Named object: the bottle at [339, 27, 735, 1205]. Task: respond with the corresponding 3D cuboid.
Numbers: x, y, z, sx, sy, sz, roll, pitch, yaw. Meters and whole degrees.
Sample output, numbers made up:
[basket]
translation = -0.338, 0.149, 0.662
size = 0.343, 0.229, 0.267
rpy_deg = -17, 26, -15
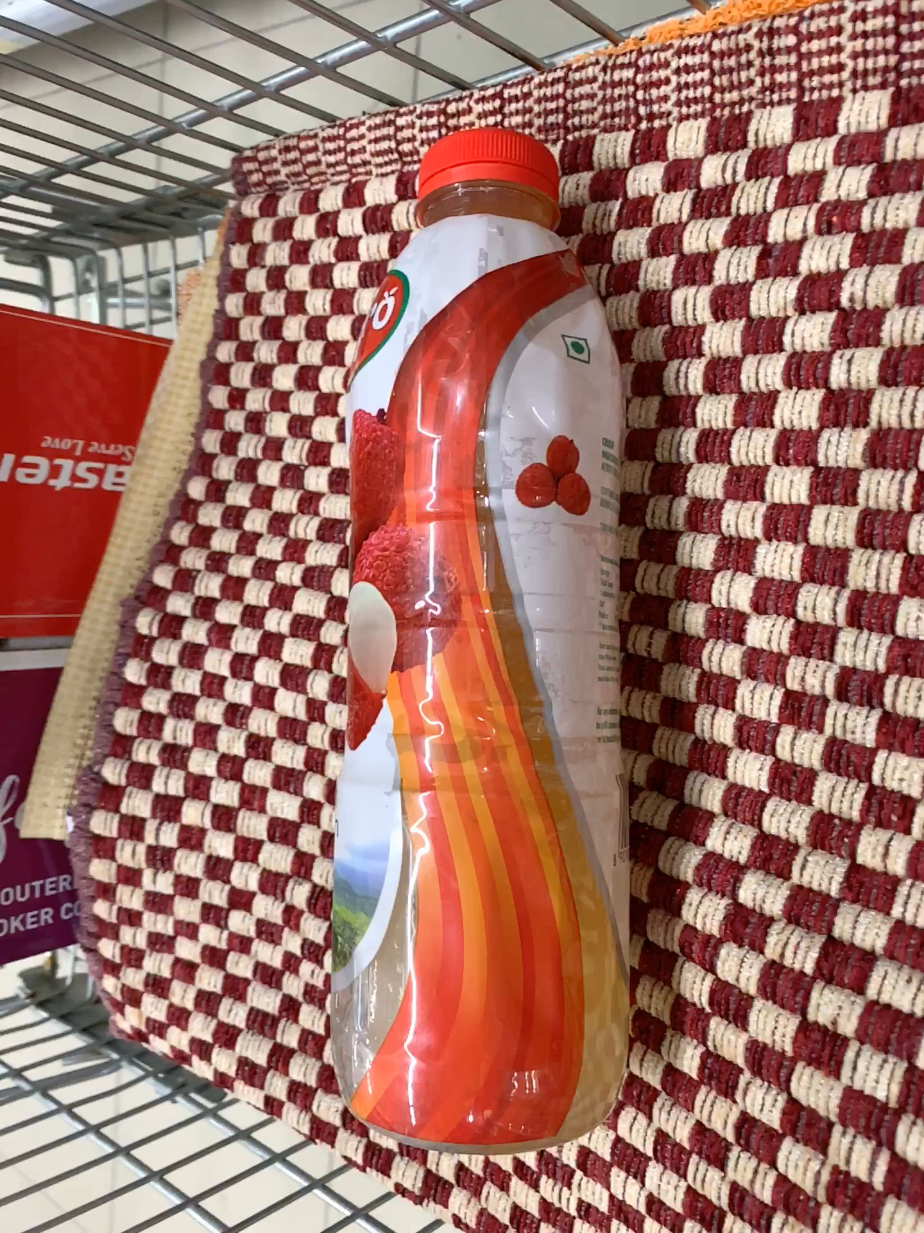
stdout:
[bottle]
translation = 0.014, -0.001, 0.231
size = 0.080, 0.070, 0.240
rpy_deg = 0, 89, -2
